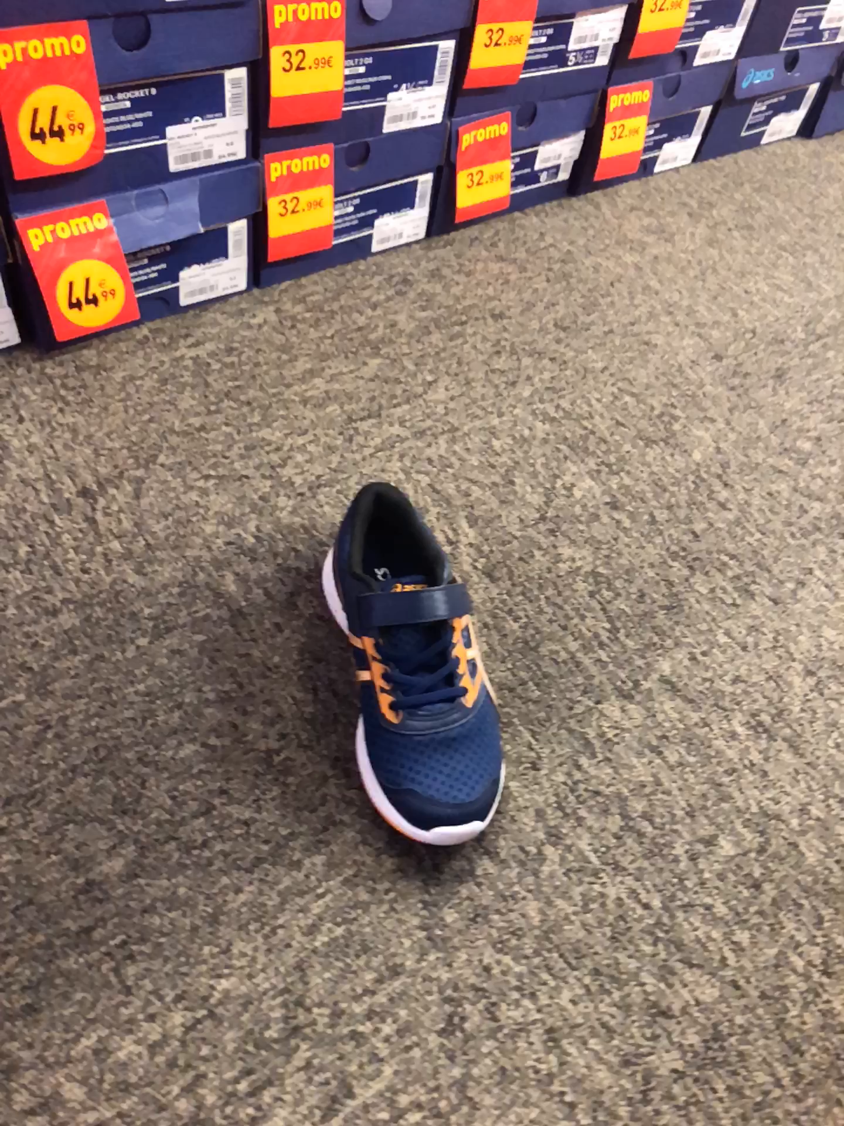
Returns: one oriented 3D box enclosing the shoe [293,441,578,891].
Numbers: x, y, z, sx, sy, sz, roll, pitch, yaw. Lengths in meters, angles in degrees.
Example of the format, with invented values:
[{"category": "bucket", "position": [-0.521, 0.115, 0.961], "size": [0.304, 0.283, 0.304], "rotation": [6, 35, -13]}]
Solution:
[{"category": "shoe", "position": [-0.006, 0.050, 0.546], "size": [0.090, 0.099, 0.236], "rotation": [-8, 52, -16]}]
